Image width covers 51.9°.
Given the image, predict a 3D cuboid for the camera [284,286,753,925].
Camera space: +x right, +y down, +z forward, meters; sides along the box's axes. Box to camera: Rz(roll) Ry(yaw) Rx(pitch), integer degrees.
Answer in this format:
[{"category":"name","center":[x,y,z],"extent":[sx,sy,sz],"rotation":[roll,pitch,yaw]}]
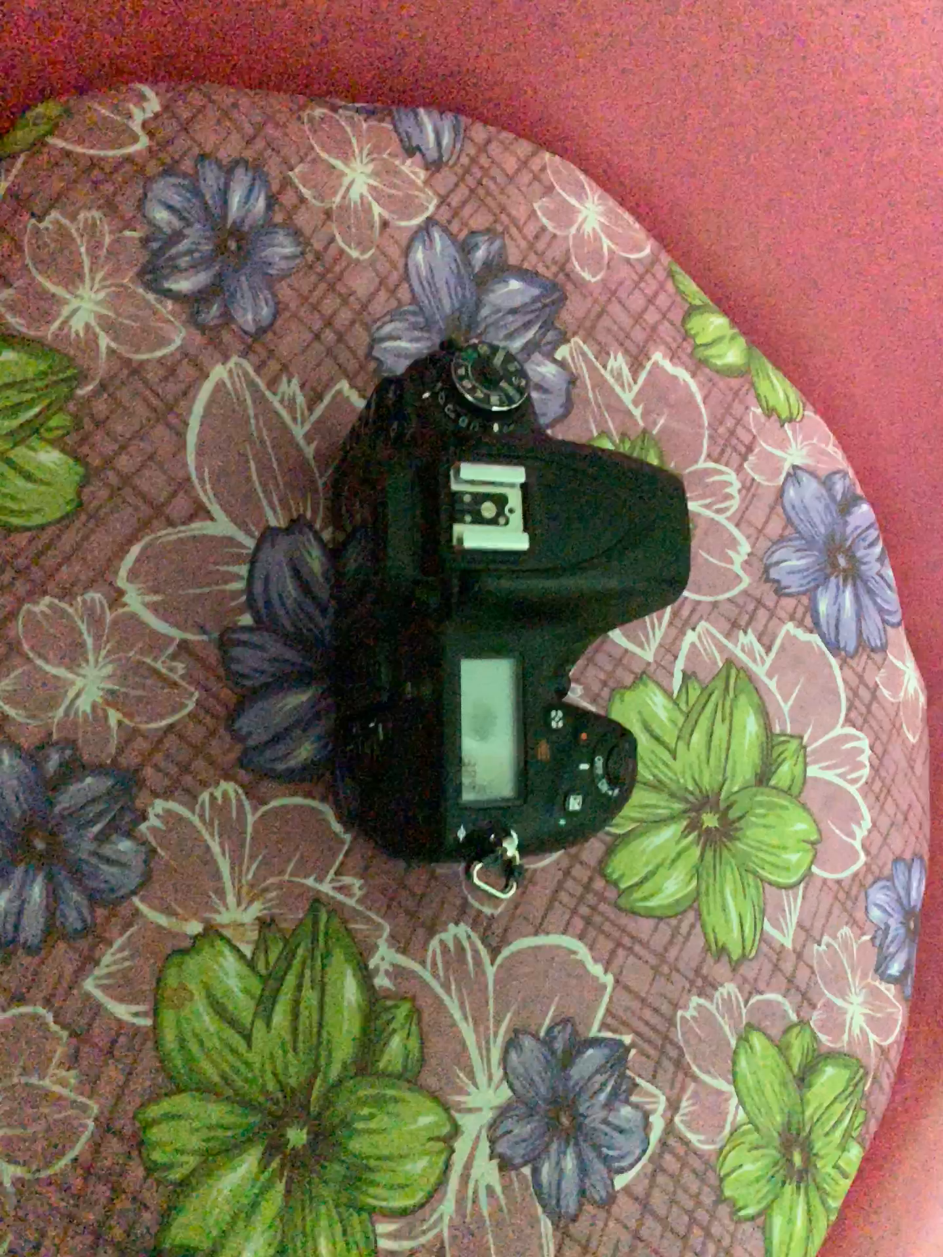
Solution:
[{"category":"camera","center":[0.007,-0.002,0.271],"extent":[0.093,0.090,0.140],"rotation":[1,83,-27]}]
